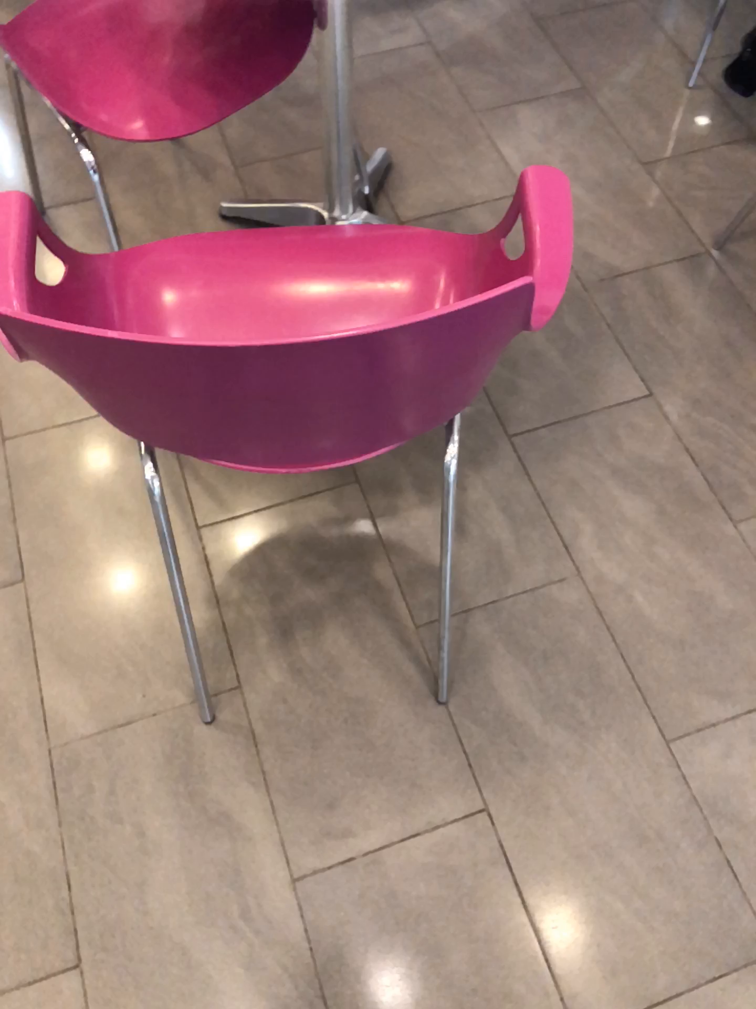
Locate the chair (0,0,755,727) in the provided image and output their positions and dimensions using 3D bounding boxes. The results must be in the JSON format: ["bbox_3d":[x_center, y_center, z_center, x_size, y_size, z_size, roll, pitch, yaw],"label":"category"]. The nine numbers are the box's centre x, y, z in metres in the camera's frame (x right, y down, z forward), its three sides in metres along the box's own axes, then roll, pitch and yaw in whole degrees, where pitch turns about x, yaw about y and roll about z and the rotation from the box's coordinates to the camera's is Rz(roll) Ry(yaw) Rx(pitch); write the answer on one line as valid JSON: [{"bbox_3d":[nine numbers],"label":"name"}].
[{"bbox_3d":[-0.080,-0.140,1.015,0.630,0.758,0.591,-2,60,-2],"label":"chair"}]
